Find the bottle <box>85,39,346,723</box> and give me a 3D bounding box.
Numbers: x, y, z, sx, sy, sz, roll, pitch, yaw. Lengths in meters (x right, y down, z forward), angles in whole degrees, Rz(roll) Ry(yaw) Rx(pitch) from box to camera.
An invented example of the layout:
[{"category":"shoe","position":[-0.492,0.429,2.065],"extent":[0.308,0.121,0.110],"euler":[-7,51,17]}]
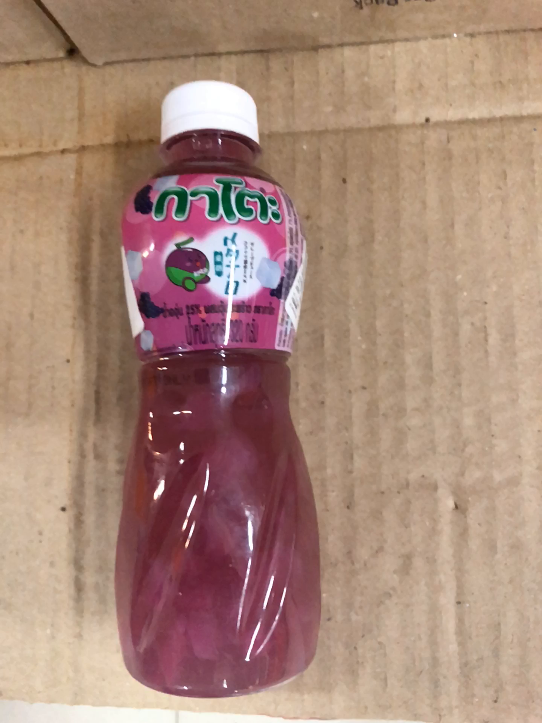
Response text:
[{"category":"bottle","position":[-0.015,0.004,0.174],"extent":[0.060,0.050,0.170],"euler":[-2,84,0]}]
